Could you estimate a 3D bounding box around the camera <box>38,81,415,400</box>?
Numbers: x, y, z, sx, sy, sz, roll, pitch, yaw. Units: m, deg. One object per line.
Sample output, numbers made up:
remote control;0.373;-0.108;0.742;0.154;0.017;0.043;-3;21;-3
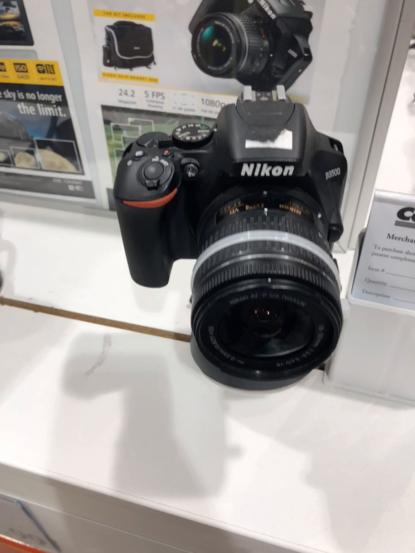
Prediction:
camera;0.017;-0.021;0.225;0.140;0.100;0.120;-1;41;1
